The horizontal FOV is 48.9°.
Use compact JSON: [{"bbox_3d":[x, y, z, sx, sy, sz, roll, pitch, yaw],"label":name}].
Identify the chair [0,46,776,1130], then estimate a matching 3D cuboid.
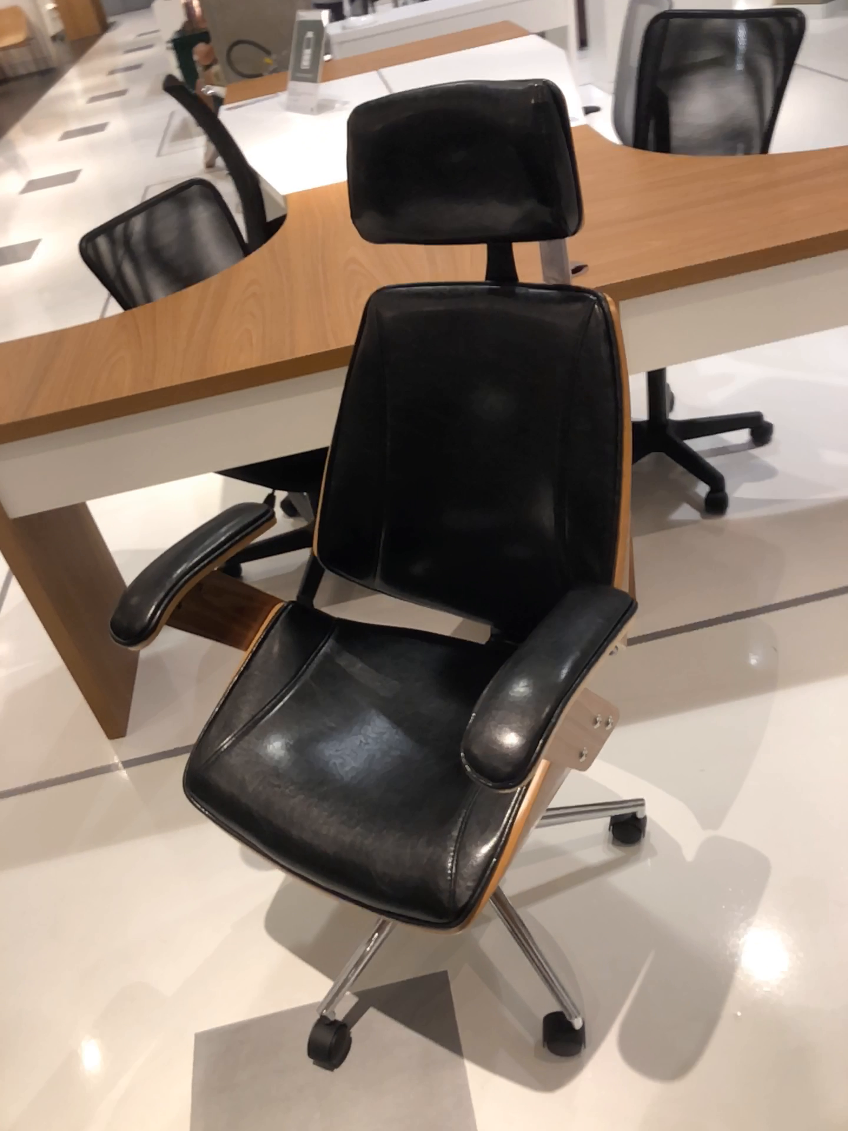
[{"bbox_3d":[-0.034,0.070,1.205,0.722,1.101,0.764,11,43,29],"label":"chair"}]
